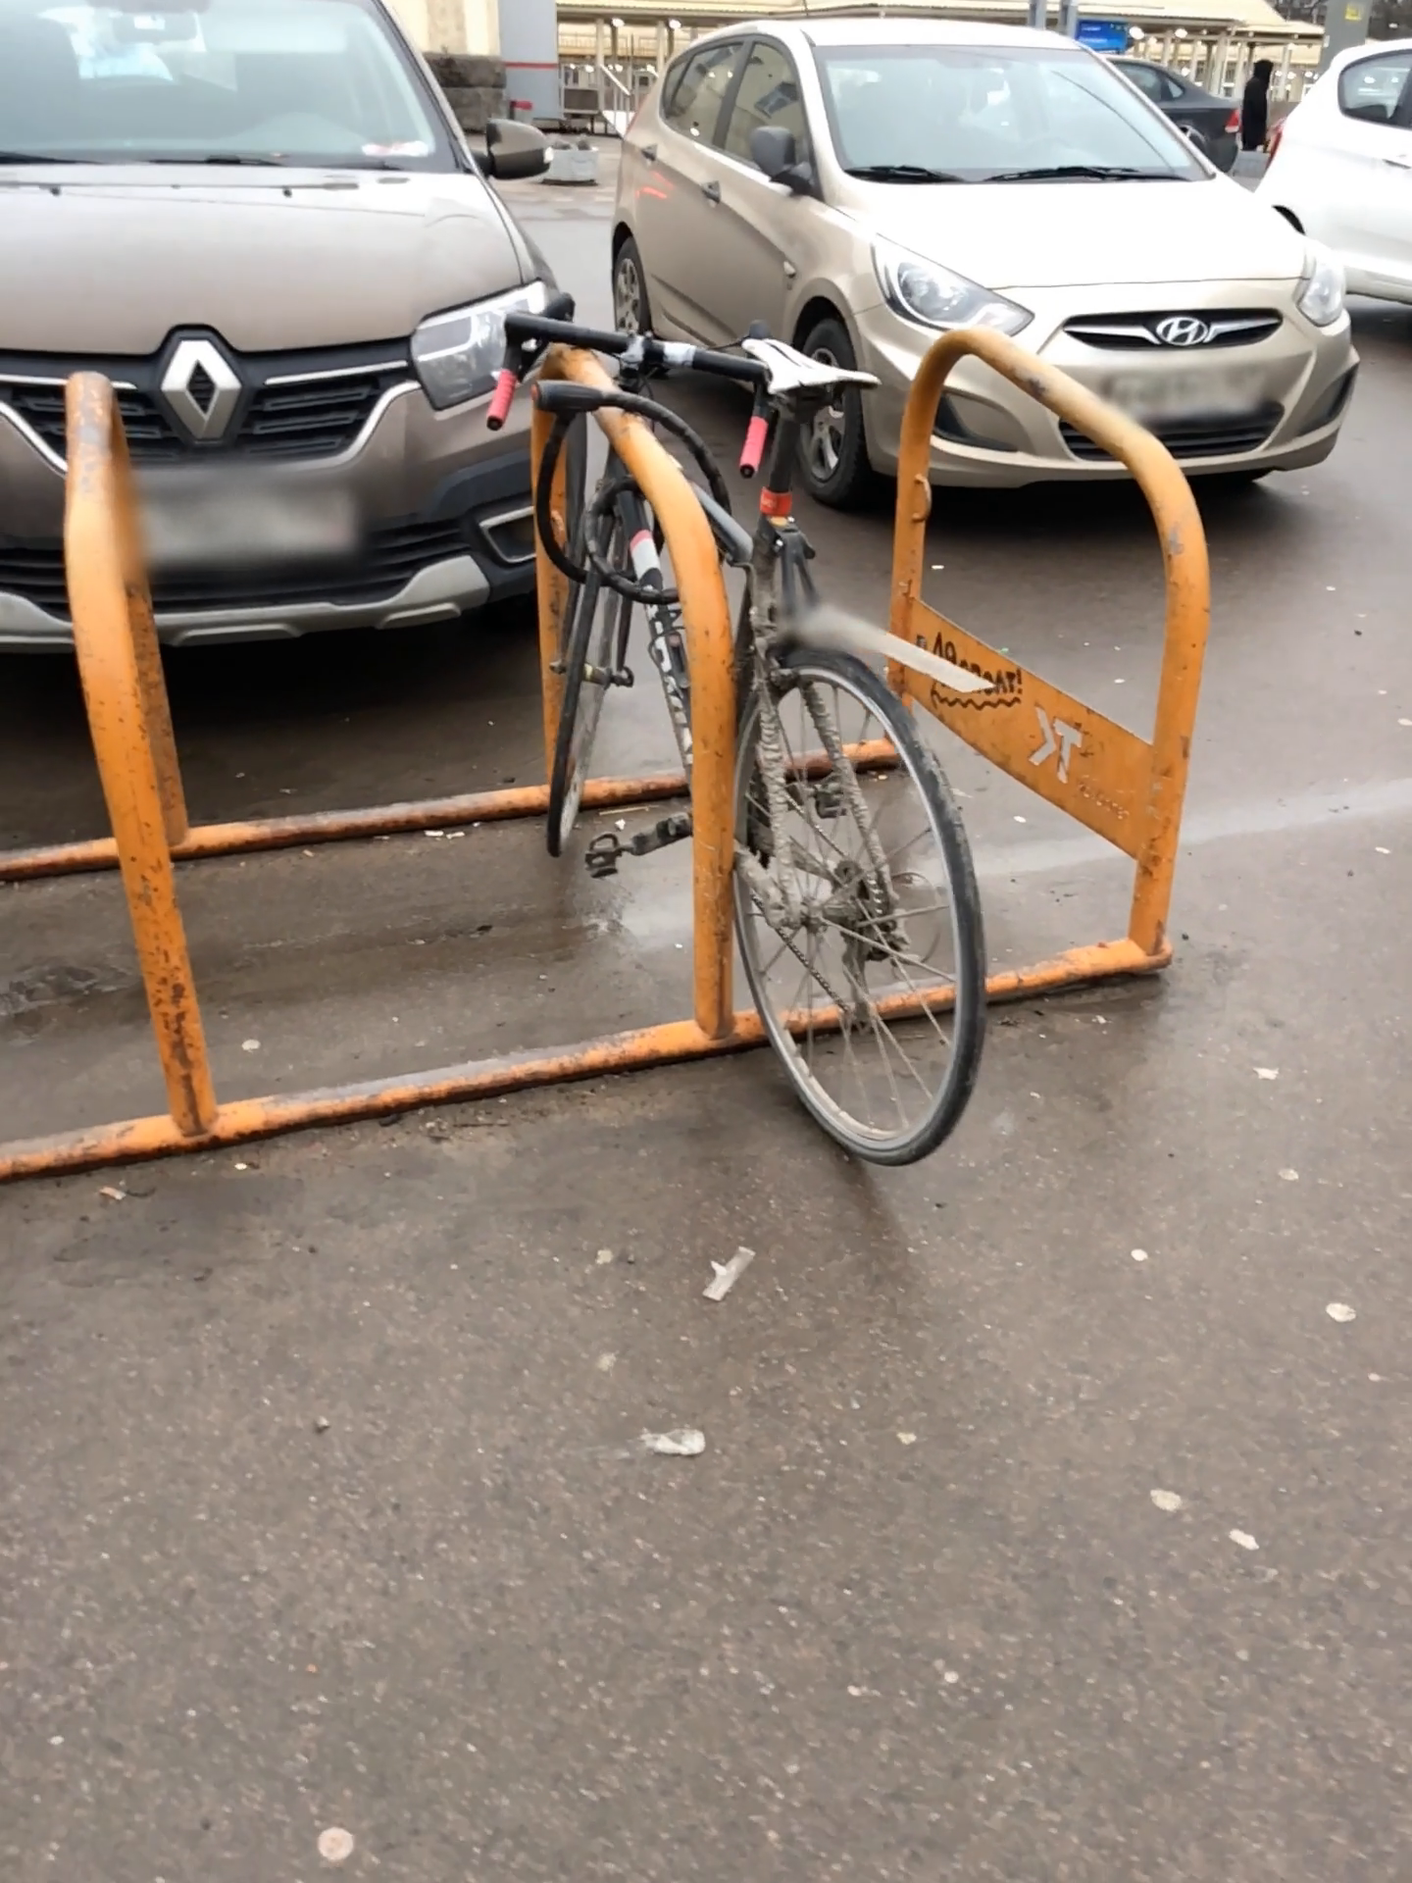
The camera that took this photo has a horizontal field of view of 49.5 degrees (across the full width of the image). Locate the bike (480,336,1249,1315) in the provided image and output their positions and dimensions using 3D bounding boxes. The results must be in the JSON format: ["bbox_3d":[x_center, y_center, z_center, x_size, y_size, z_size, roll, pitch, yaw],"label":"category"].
[{"bbox_3d":[0.074,-0.338,2.234,0.489,0.761,1.524,-8,31,-16],"label":"bike"}]
